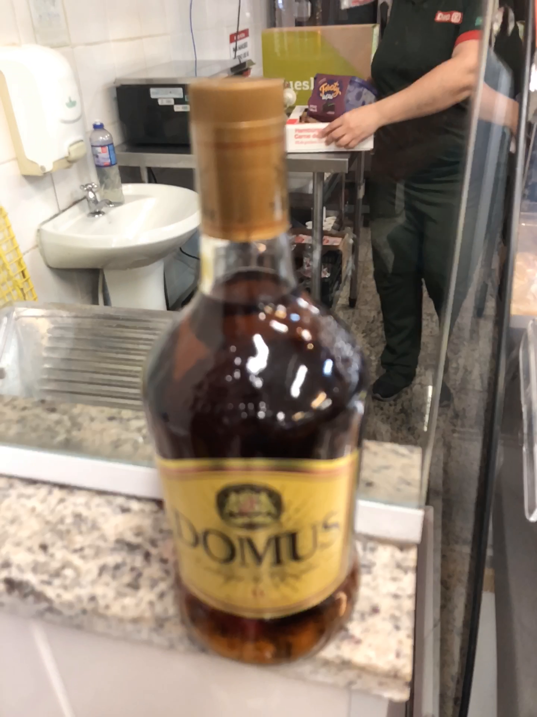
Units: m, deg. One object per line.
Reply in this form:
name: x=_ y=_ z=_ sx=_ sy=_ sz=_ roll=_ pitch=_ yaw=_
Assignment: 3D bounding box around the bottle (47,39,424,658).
bottle: x=-0.003 y=0.006 z=0.267 sx=0.100 sy=0.258 sz=0.111 roll=-2 pitch=30 yaw=2
